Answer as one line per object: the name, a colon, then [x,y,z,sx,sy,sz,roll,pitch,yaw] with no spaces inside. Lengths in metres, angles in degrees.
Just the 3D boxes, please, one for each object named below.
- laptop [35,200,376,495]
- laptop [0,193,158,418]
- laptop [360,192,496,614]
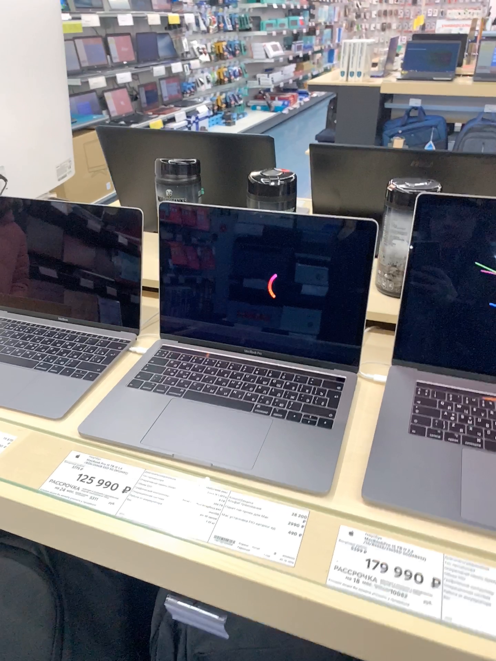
laptop: [-0.024,-0.008,0.609,0.299,0.195,0.261,9,33,16]
laptop: [-0.324,-0.057,0.721,0.280,0.172,0.267,9,34,16]
laptop: [0.329,0.020,0.524,0.346,0.210,0.329,10,33,18]
